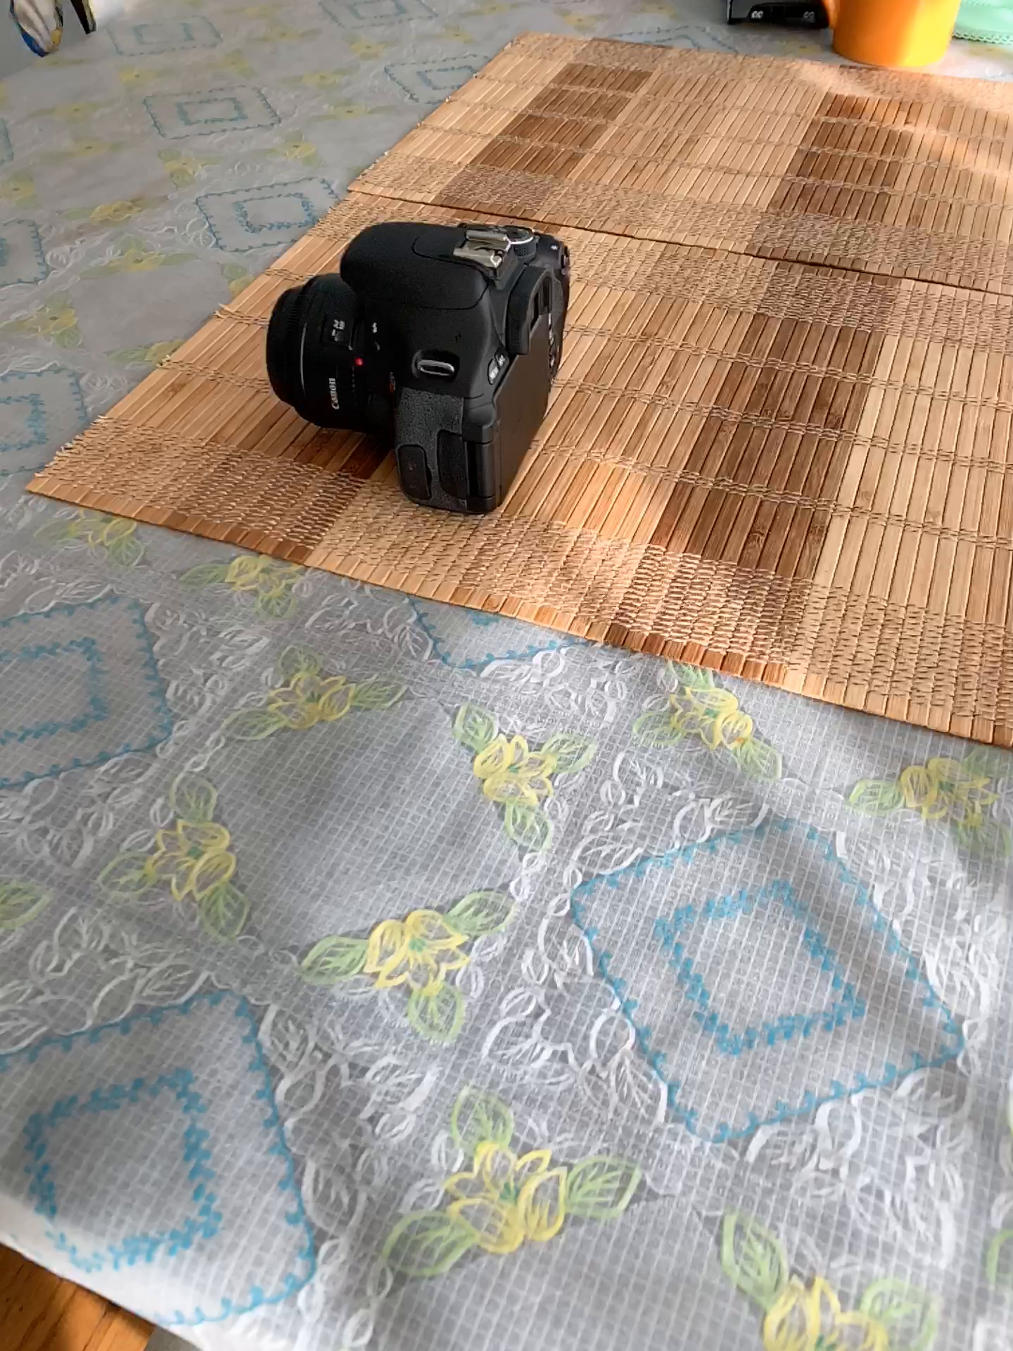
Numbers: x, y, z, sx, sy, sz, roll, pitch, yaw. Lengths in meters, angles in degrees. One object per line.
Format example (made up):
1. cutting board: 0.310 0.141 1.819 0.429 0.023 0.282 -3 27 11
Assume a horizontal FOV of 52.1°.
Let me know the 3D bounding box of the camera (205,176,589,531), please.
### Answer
1. camera: -0.040 -0.142 0.451 0.125 0.092 0.100 14 50 13
